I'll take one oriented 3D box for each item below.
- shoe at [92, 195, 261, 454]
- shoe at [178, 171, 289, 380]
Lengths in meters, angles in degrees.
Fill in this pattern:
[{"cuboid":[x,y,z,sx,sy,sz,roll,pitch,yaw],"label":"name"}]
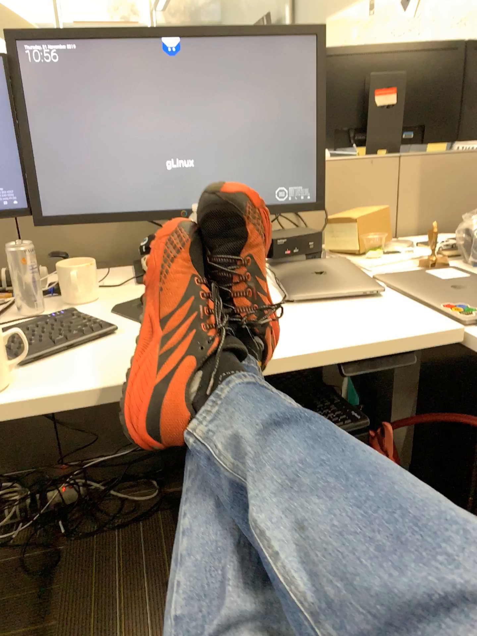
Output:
[{"cuboid":[-0.066,0.006,0.592,0.132,0.289,0.091,3,-14,19],"label":"shoe"},{"cuboid":[0.001,-0.055,0.684,0.107,0.271,0.083,0,22,16],"label":"shoe"}]
